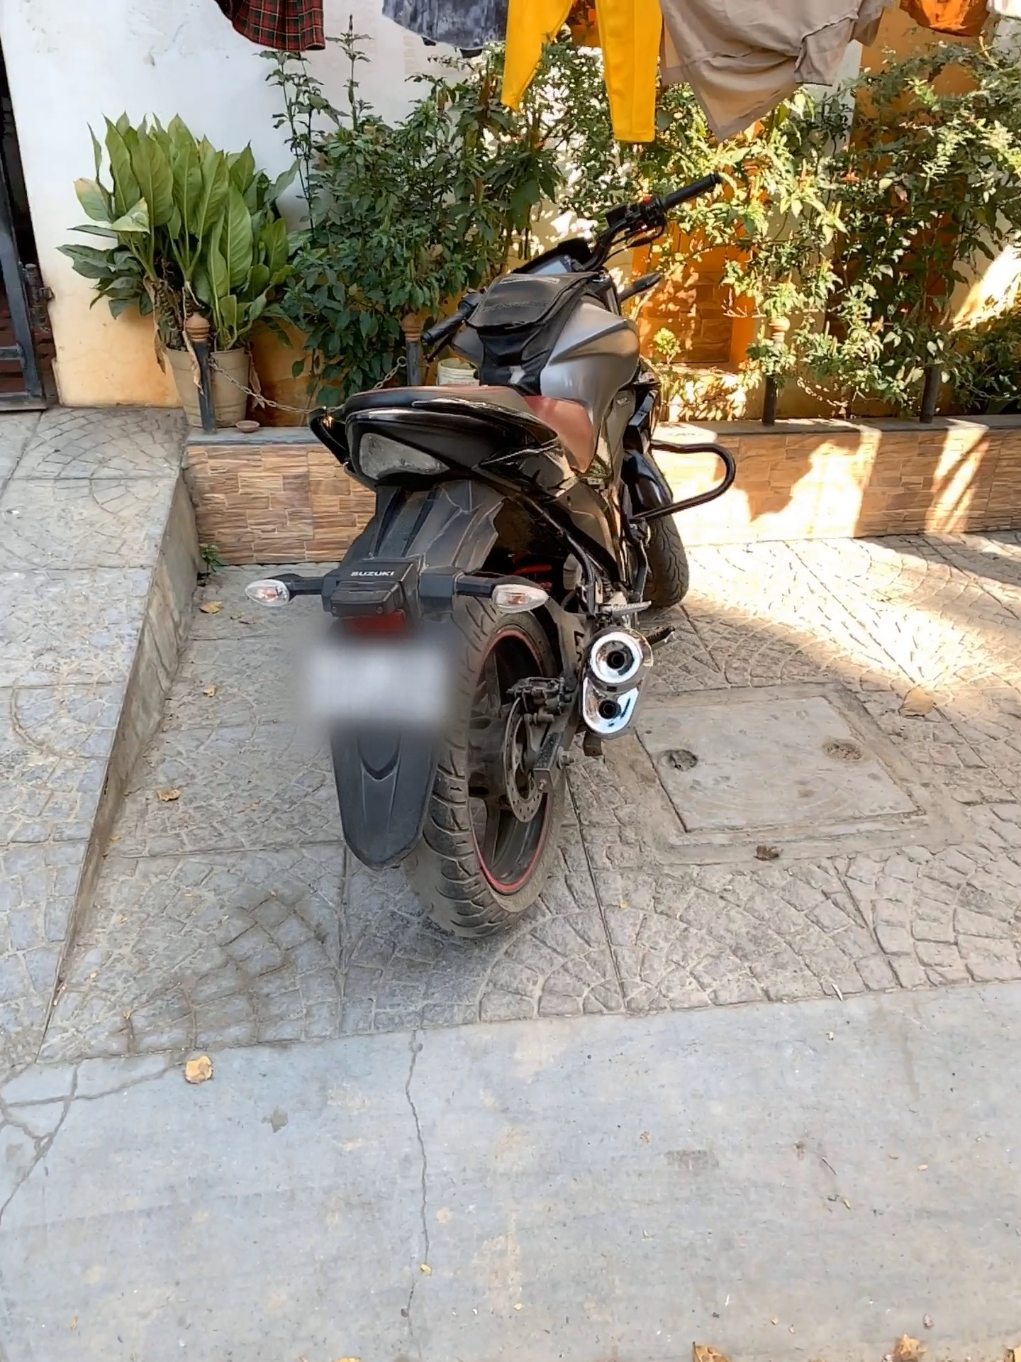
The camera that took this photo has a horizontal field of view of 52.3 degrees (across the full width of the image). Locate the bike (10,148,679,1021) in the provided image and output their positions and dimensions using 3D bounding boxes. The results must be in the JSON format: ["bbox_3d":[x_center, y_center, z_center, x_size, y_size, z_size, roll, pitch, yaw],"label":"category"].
[{"bbox_3d":[-0.110,-0.431,2.133,0.809,1.140,1.631,5,28,8],"label":"bike"}]
